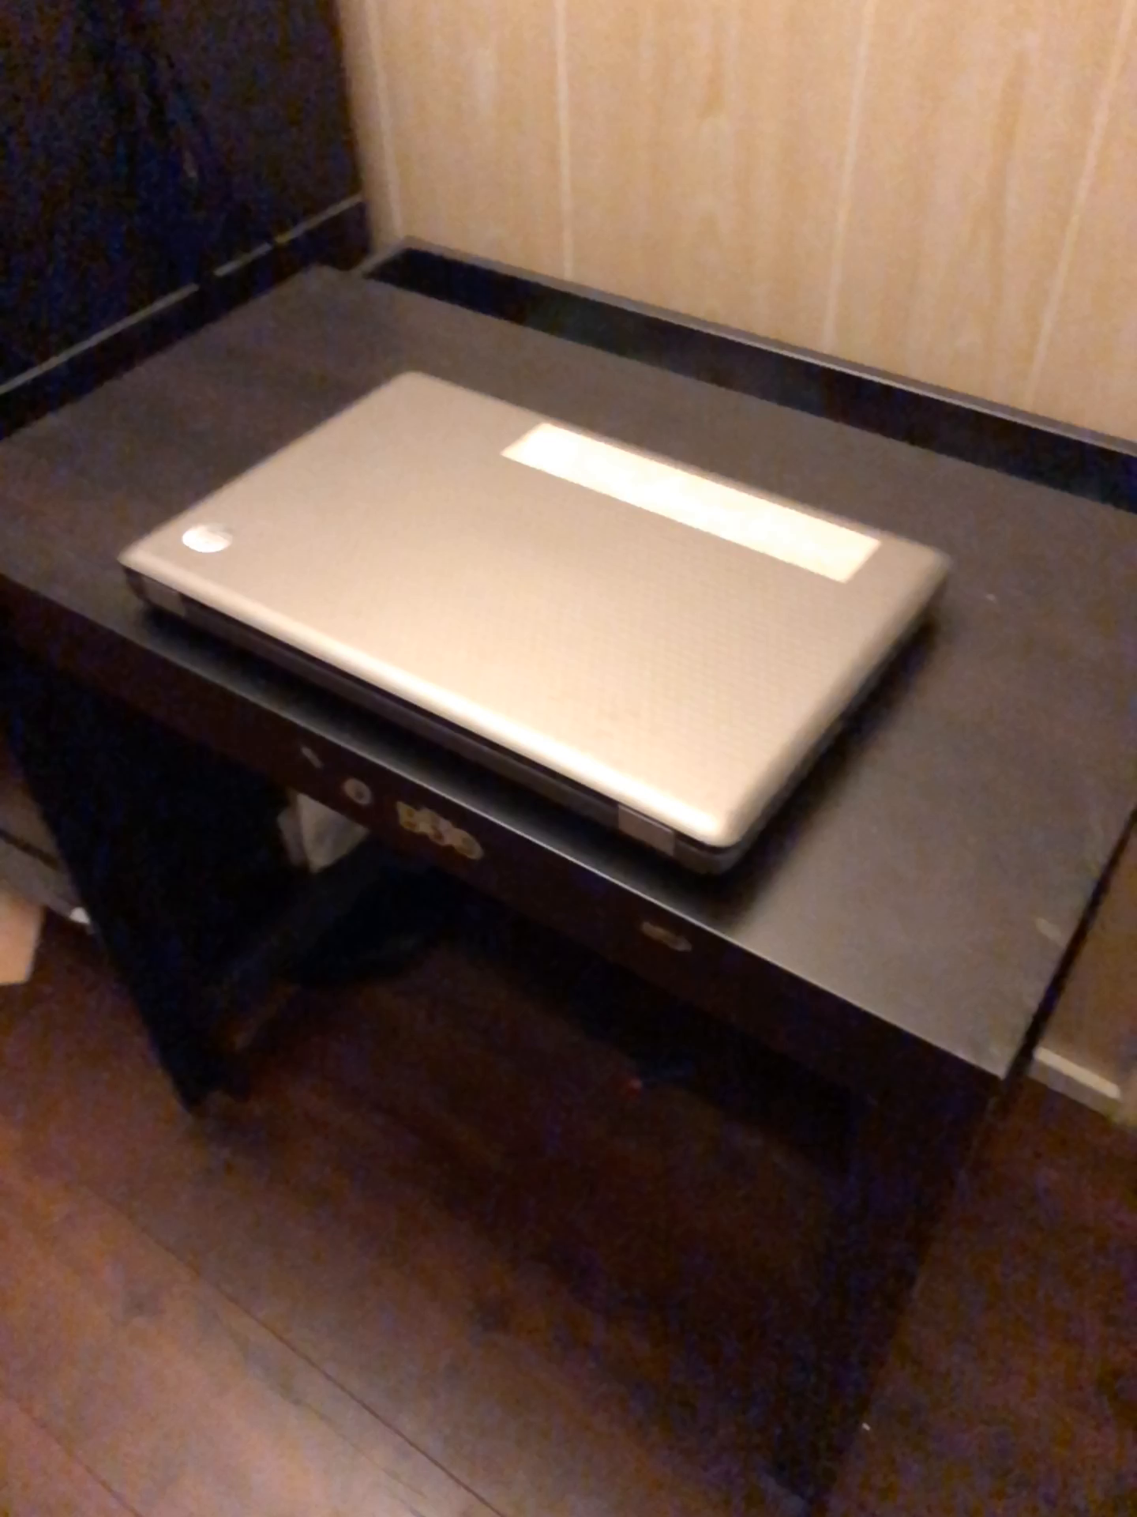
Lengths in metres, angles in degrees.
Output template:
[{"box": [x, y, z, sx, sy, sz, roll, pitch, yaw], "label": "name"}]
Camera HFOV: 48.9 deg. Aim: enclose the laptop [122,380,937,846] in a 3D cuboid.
[{"box": [-0.024, -0.104, 0.660, 0.358, 0.001, 0.238, 25, 51, 25], "label": "laptop"}]
